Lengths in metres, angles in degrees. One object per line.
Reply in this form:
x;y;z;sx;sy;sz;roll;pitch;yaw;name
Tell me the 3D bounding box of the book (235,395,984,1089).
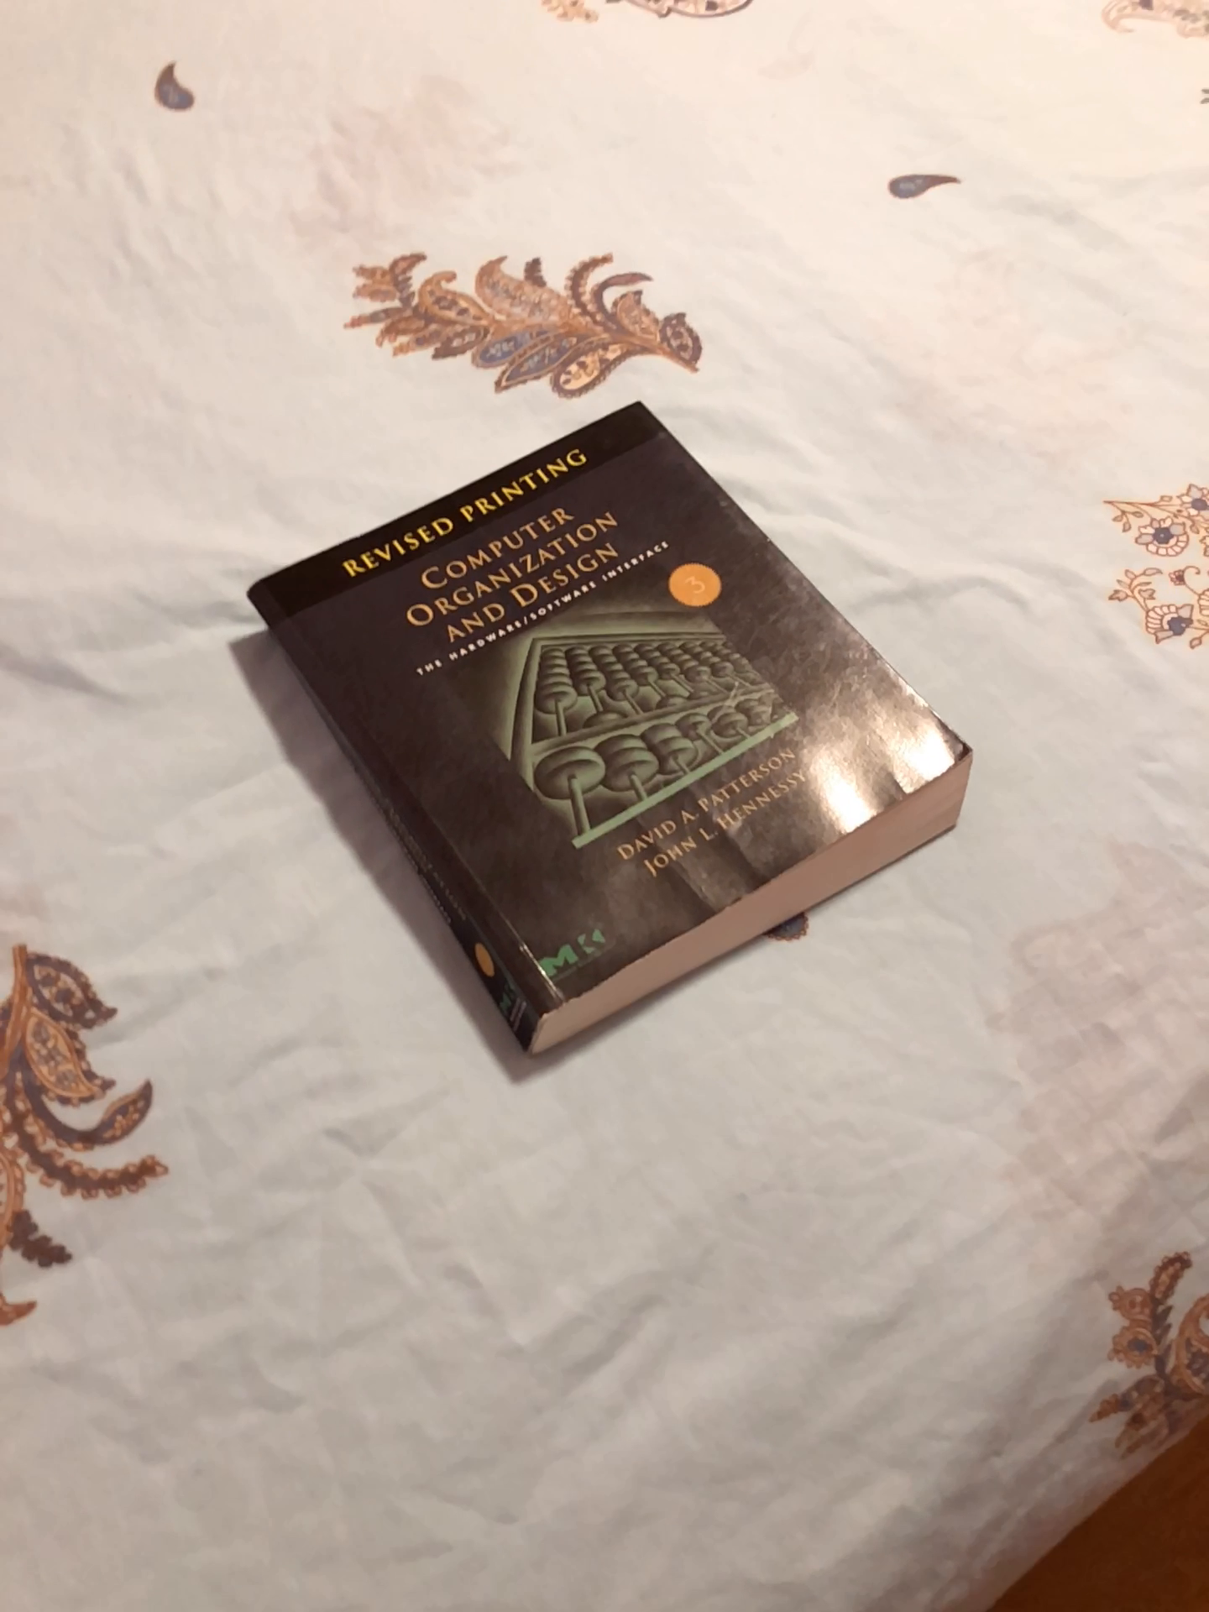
-0.003;-0.039;0.549;0.201;0.073;0.225;-29;65;-20;book
